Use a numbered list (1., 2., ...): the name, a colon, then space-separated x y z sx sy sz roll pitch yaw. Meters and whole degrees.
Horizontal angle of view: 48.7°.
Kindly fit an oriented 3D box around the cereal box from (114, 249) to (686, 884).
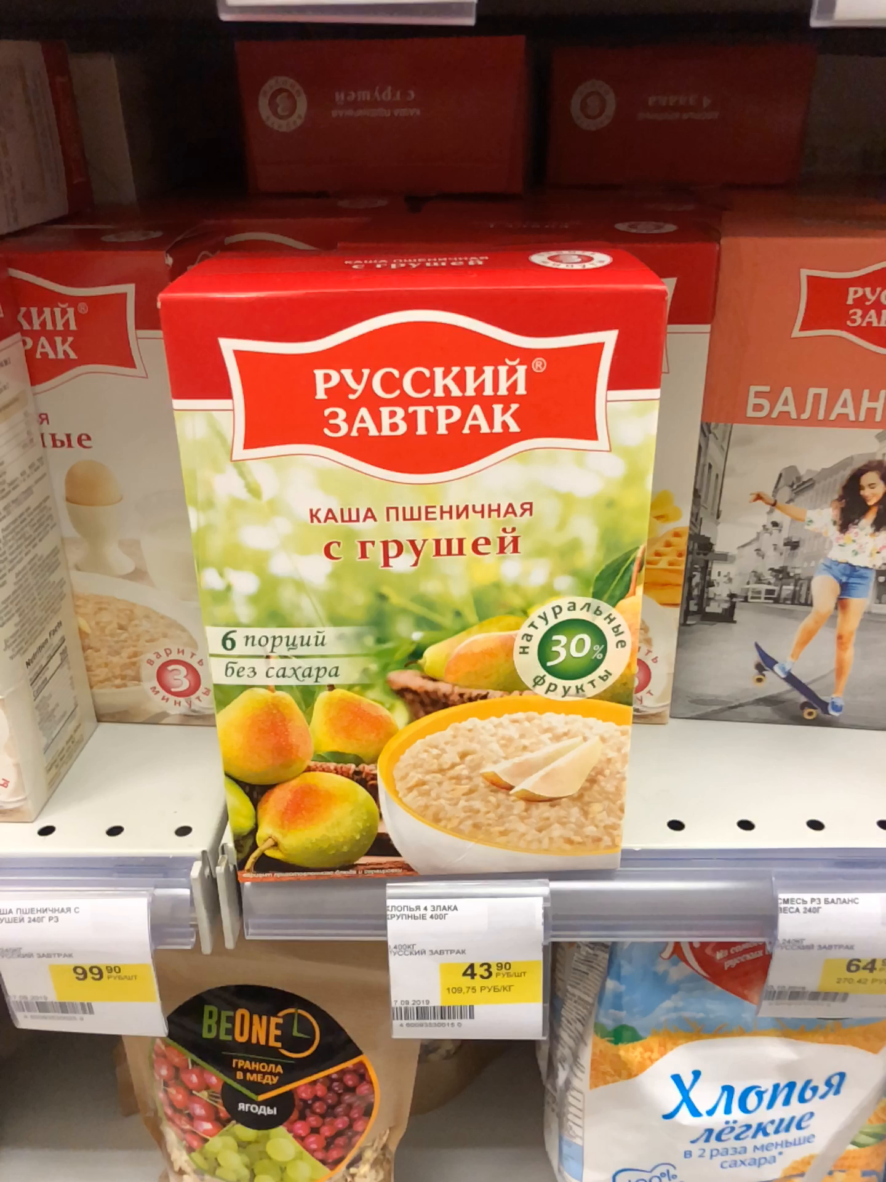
1. cereal box: -0.010 -0.003 0.308 0.140 0.189 0.060 -1 26 -1
